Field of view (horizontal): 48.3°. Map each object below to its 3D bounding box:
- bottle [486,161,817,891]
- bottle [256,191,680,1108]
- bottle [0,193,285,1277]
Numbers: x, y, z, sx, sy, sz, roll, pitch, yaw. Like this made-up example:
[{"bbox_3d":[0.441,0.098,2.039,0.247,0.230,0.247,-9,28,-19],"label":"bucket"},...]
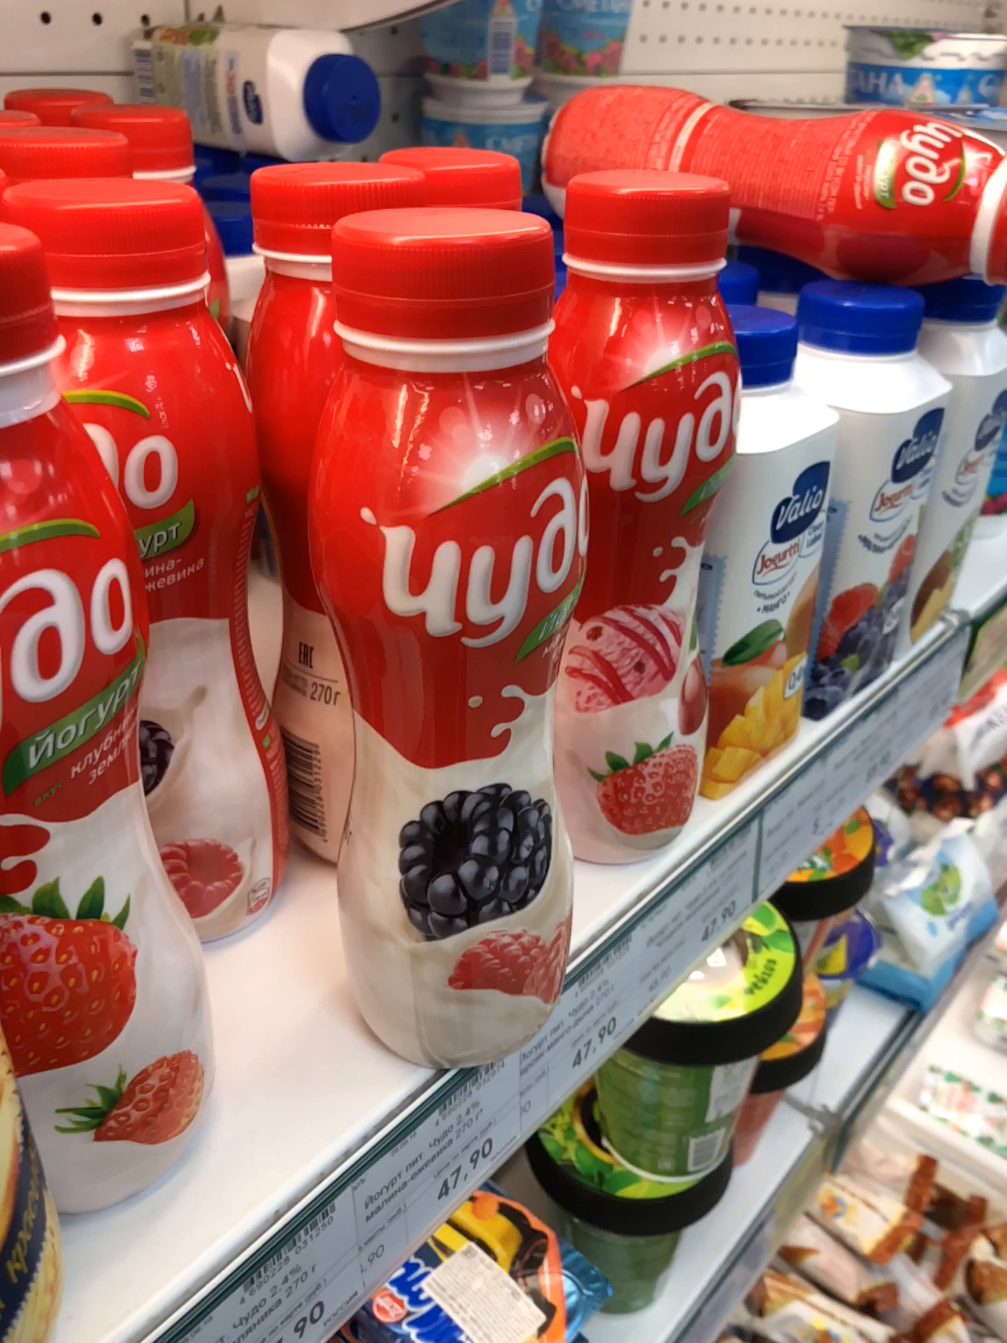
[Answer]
[{"bbox_3d":[0.034,-0.035,0.304,0.050,0.181,0.054,2,29,-1],"label":"bottle"},{"bbox_3d":[-0.009,0.000,0.238,0.054,0.181,0.050,2,29,-1],"label":"bottle"},{"bbox_3d":[-0.082,0.017,0.200,0.050,0.181,0.054,2,29,-1],"label":"bottle"}]
